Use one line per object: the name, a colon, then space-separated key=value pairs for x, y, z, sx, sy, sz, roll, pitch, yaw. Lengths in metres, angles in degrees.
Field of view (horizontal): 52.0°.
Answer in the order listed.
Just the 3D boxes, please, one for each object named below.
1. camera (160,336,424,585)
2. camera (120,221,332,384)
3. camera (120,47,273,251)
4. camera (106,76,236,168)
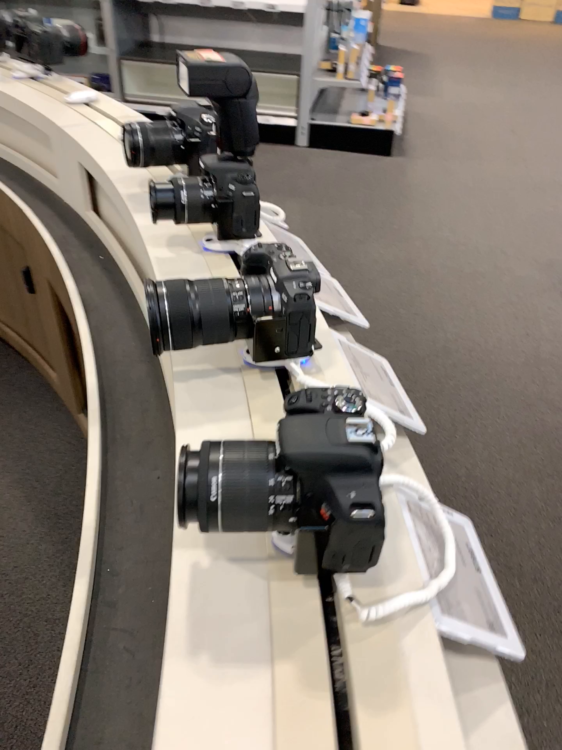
camera: x=0.000 y=0.063 z=0.465 sx=0.170 sy=0.119 sz=0.151 roll=-1 pitch=40 yaw=-5
camera: x=-0.065 y=-0.087 z=0.641 sx=0.200 sy=0.099 sz=0.141 roll=-8 pitch=41 yaw=-13
camera: x=-0.116 y=-0.314 z=0.802 sx=0.170 sy=0.219 sz=0.151 roll=-8 pitch=41 yaw=-14
camera: x=-0.191 y=-0.444 z=1.007 sx=0.190 sy=0.099 sz=0.141 roll=-12 pitch=42 yaw=-18
